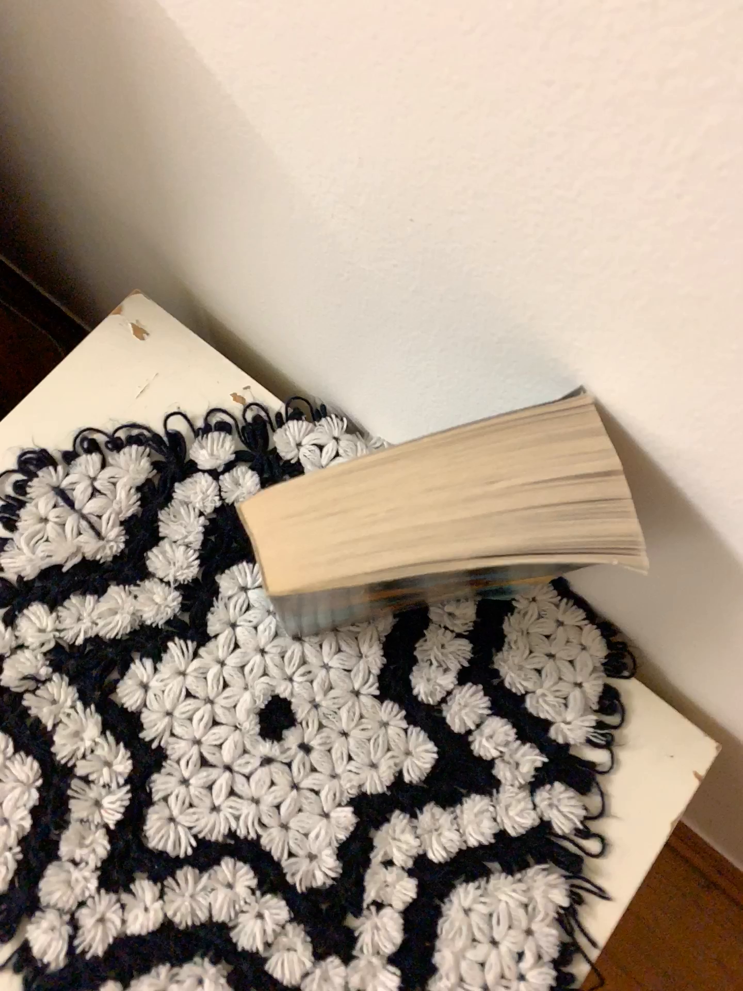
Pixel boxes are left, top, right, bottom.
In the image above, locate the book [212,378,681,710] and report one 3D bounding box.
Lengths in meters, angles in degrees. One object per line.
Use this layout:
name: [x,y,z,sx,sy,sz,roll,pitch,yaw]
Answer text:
book: [0.019,0.035,0.336,0.142,0.178,0.068,-15,73,-8]
